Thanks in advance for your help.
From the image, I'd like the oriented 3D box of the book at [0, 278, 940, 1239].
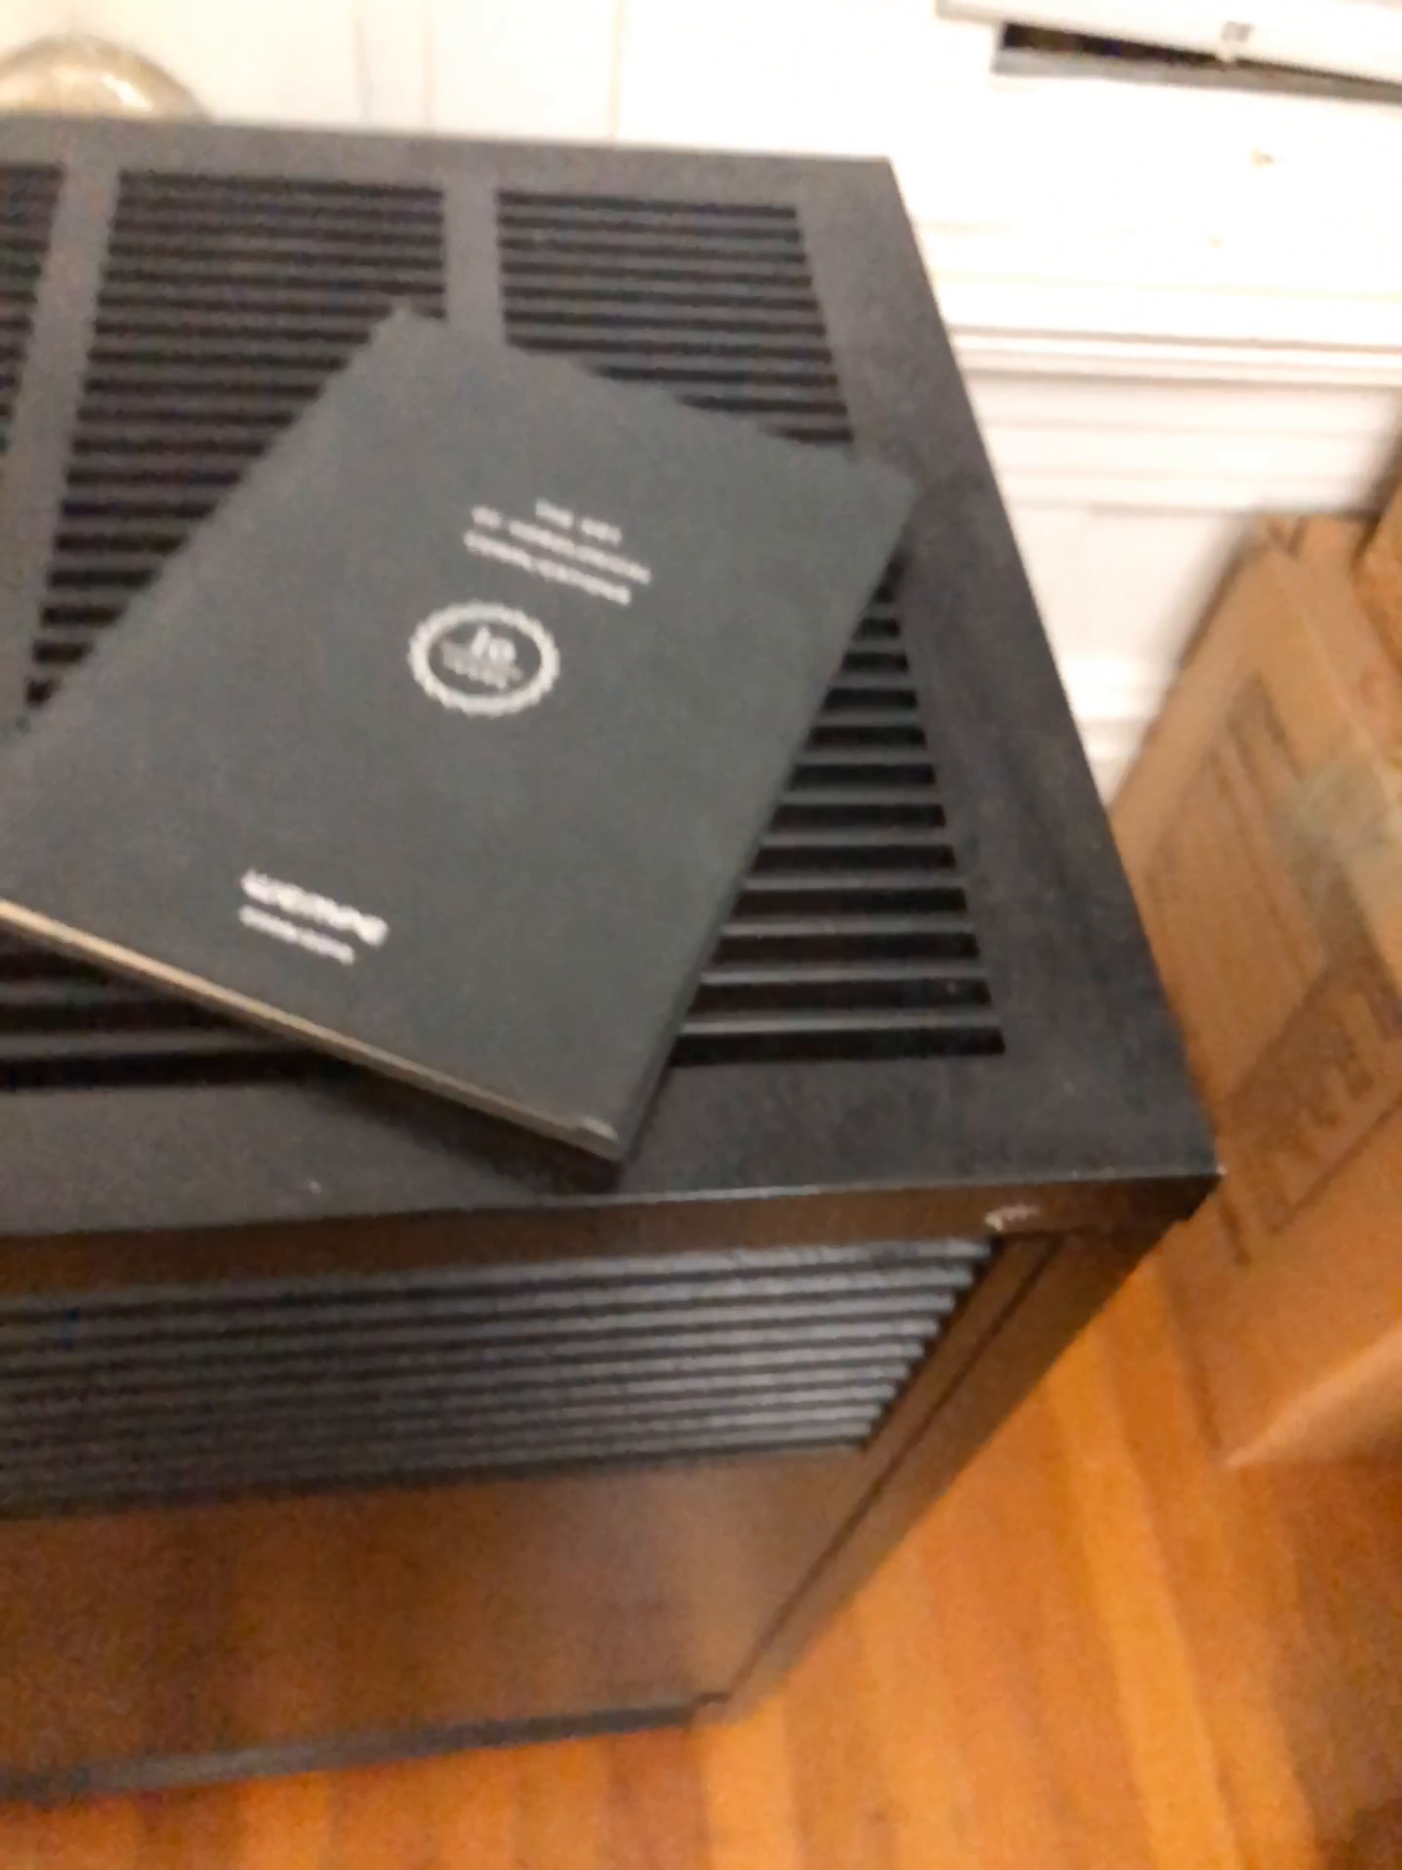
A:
[{"bbox_3d":[-0.052,-0.066,0.383,0.160,0.020,0.251,20,54,6],"label":"book"}]
